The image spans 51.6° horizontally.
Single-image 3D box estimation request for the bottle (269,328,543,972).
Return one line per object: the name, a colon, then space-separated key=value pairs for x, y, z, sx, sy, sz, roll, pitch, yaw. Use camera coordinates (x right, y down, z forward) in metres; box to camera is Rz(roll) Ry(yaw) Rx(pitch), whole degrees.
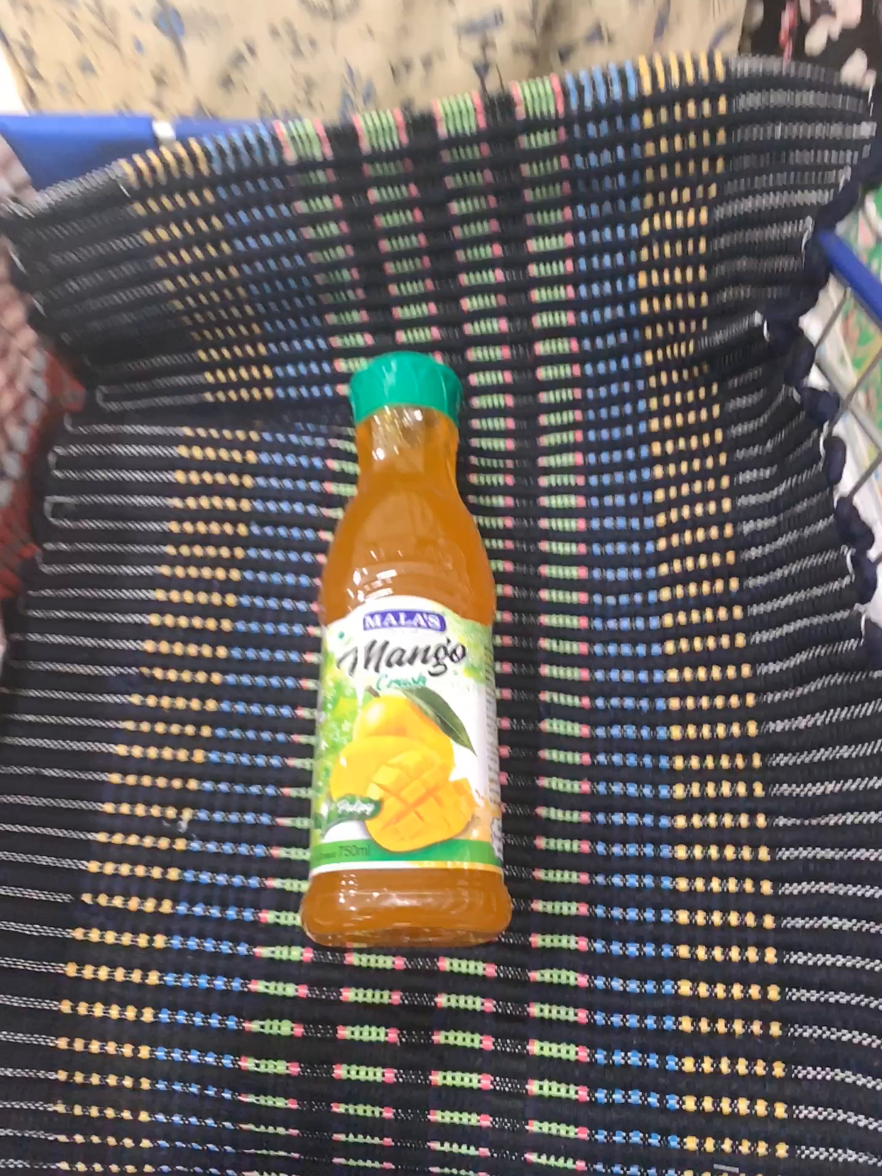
bottle: x=-0.013 y=0.018 z=0.365 sx=0.080 sy=0.090 sz=0.240 roll=0 pitch=60 yaw=-2
